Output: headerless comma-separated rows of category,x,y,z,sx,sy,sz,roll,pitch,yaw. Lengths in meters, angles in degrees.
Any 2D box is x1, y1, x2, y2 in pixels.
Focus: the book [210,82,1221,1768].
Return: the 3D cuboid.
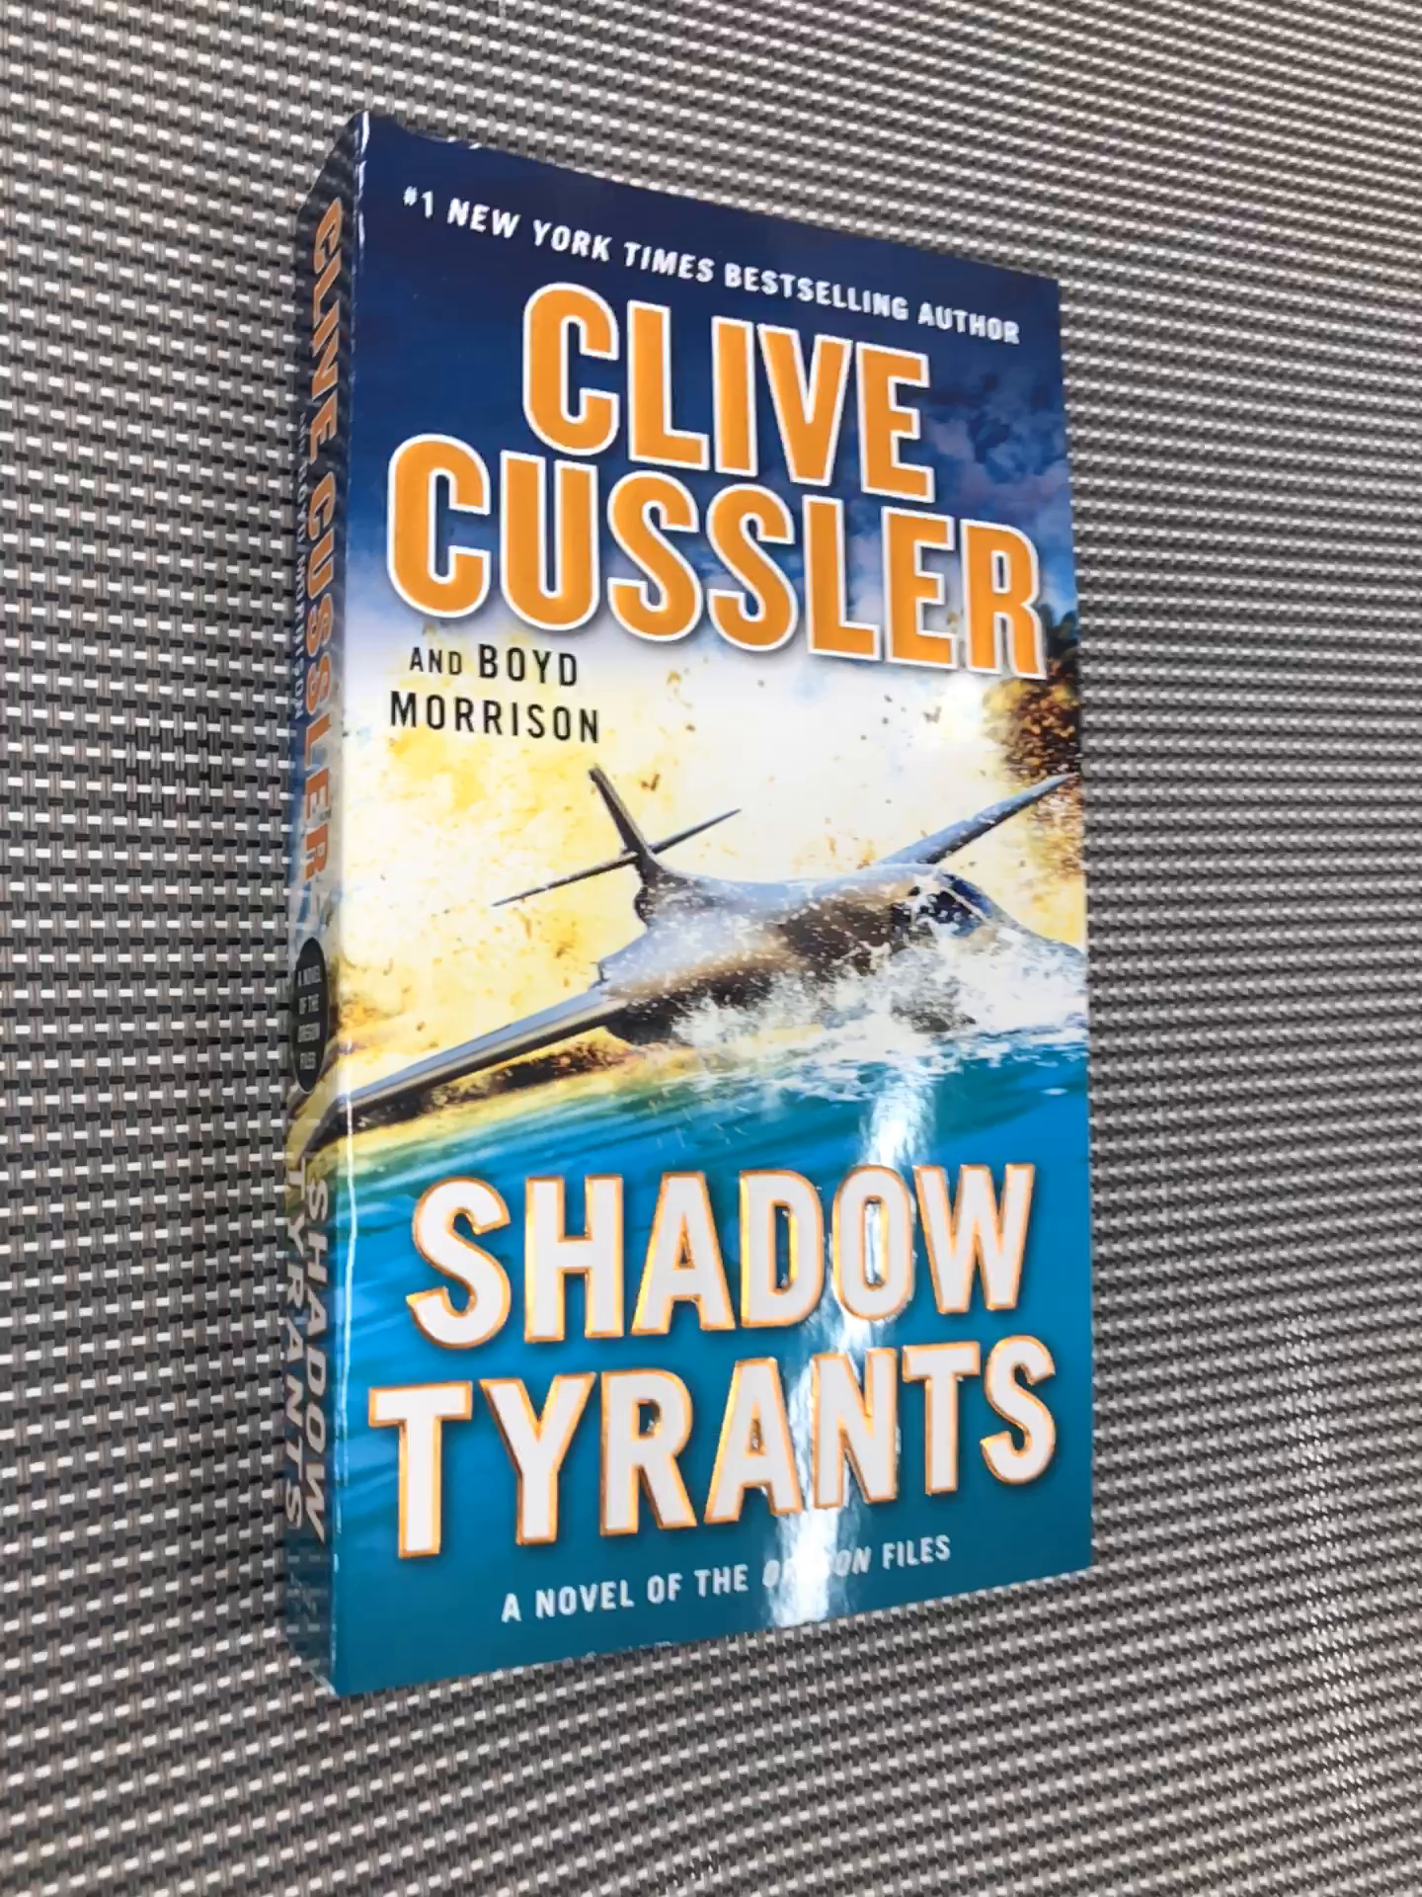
book,0.000,-0.002,0.220,0.120,0.060,0.180,3,82,-26
